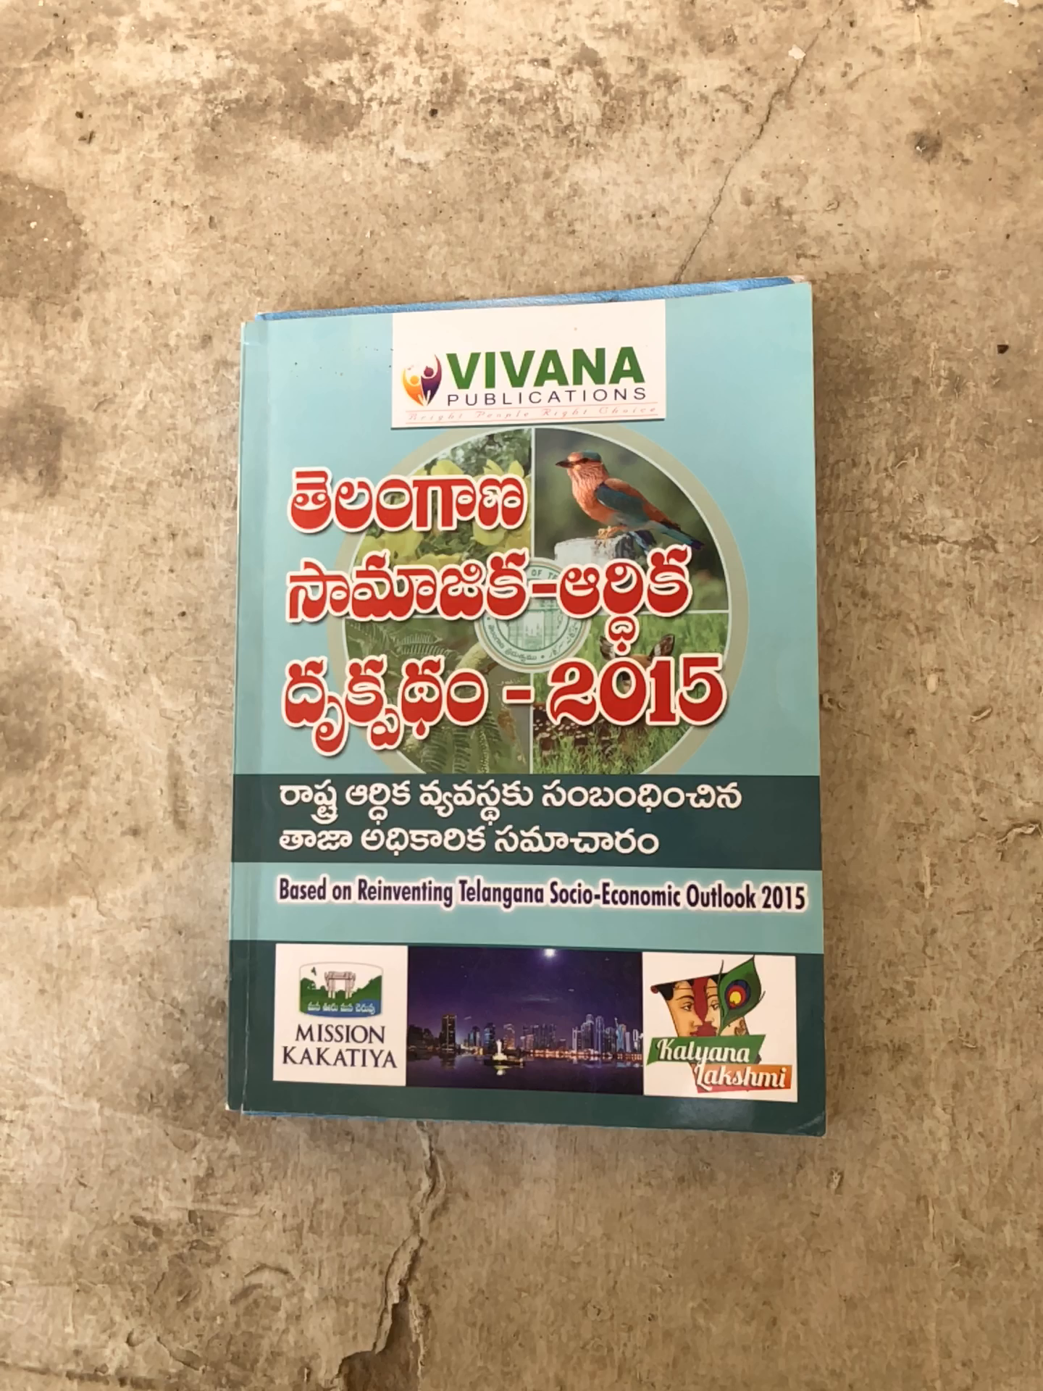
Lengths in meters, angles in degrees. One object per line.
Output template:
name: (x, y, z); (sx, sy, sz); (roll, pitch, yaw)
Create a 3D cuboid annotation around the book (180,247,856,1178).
book: (-0.002, 0.002, 0.364); (0.200, 0.030, 0.270); (0, 85, 8)
